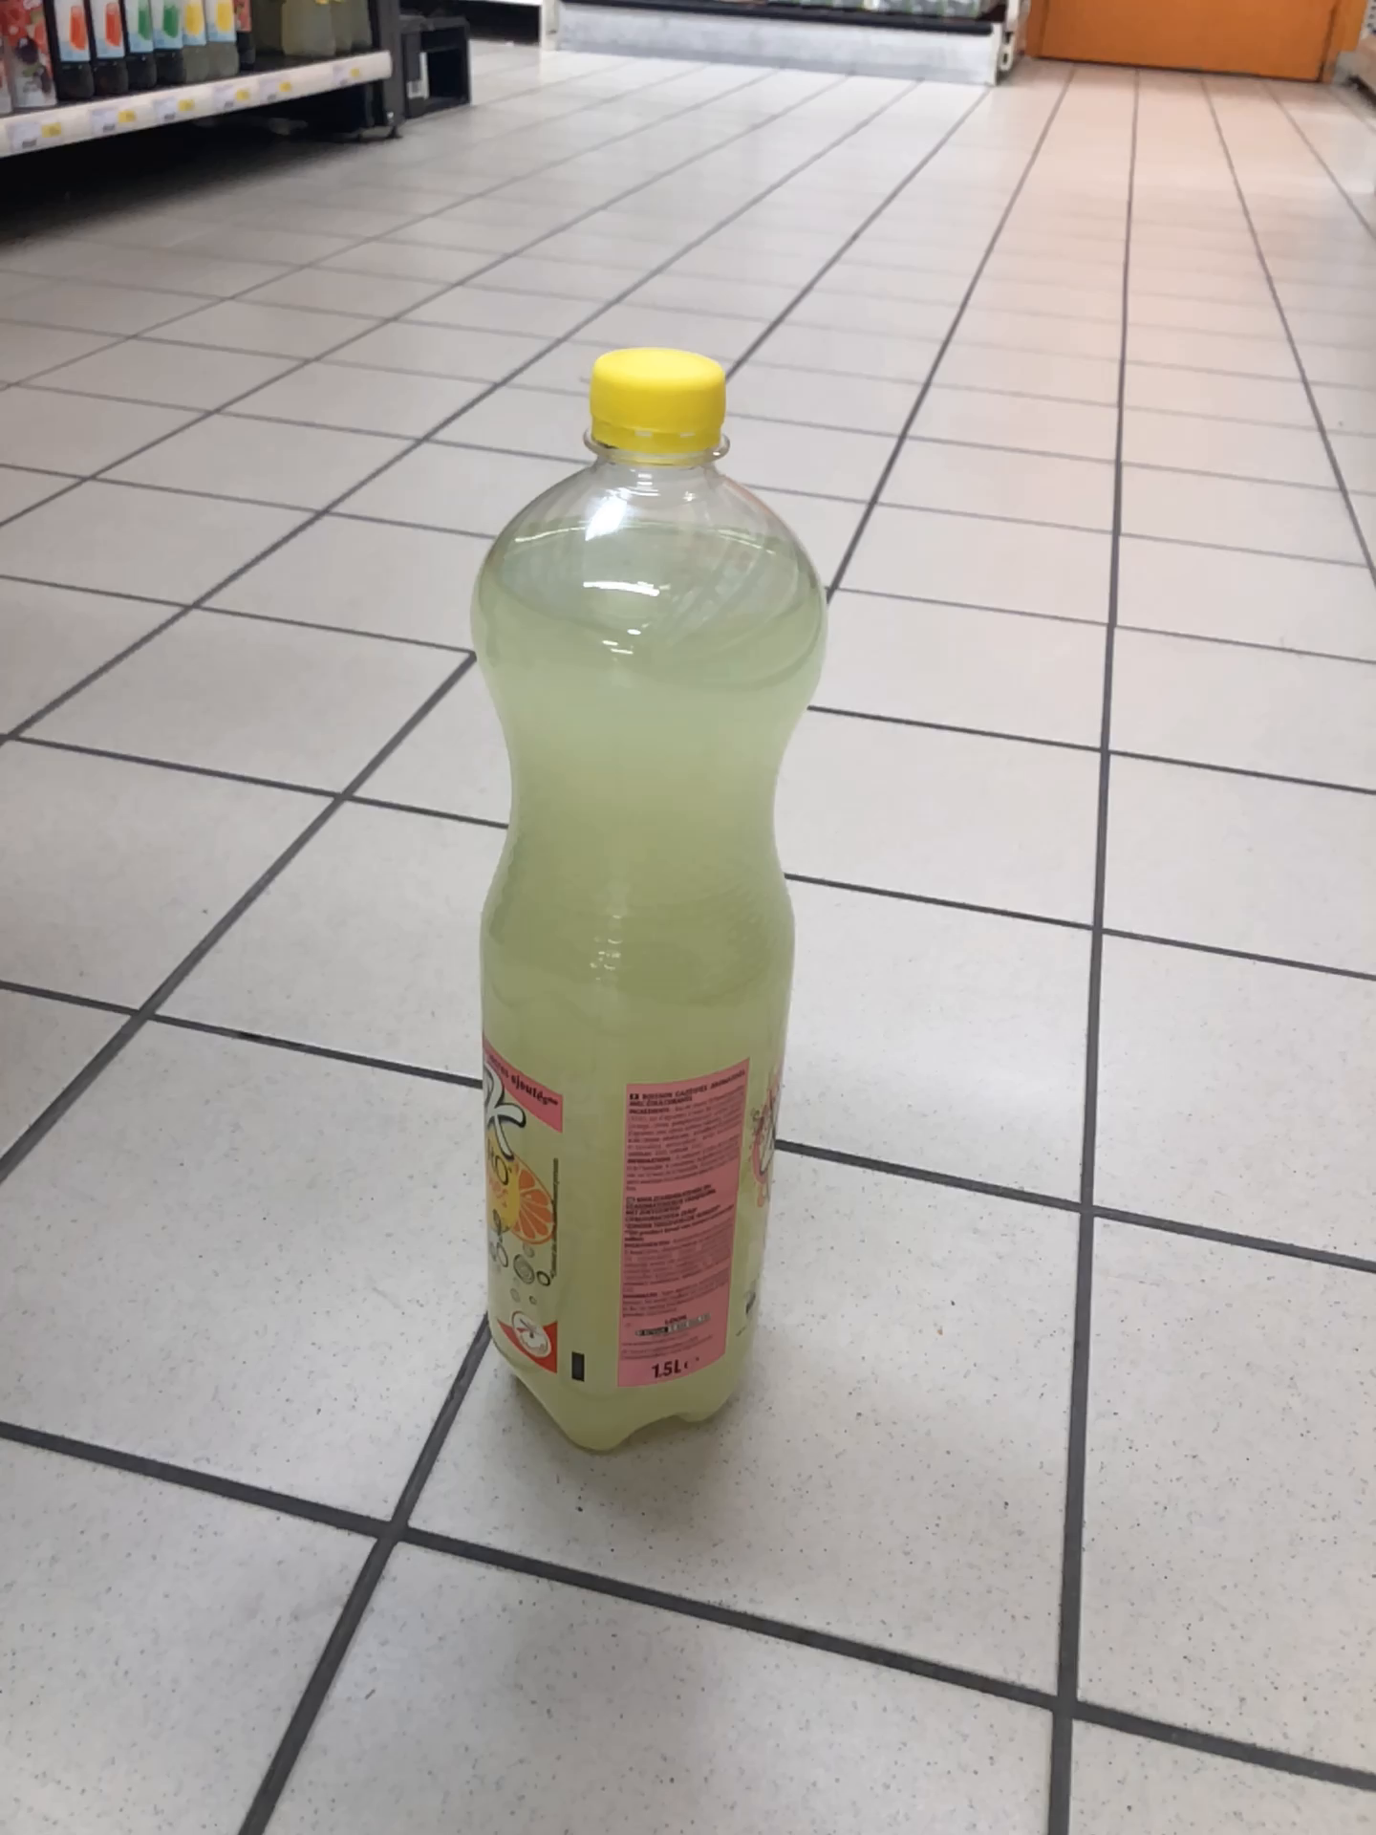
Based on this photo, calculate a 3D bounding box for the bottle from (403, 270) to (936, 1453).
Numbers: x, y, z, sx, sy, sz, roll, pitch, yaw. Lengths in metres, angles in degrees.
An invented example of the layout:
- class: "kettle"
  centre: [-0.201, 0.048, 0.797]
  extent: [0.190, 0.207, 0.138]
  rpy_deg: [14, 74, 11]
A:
- class: "bottle"
  centre: [-0.017, -0.002, 0.408]
  extent: [0.100, 0.298, 0.111]
  rpy_deg: [-1, 33, -8]
